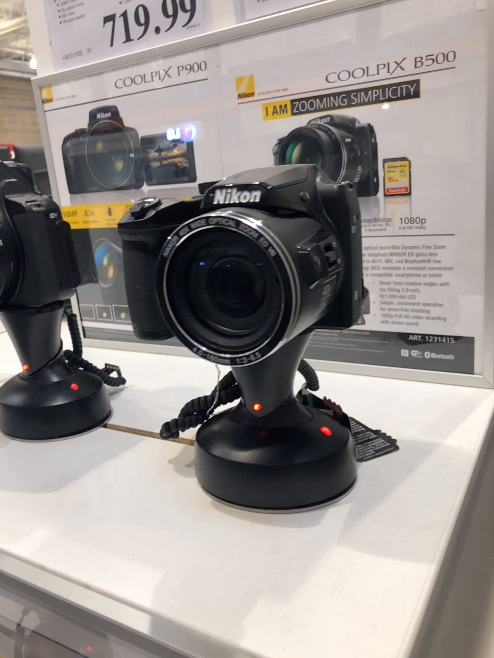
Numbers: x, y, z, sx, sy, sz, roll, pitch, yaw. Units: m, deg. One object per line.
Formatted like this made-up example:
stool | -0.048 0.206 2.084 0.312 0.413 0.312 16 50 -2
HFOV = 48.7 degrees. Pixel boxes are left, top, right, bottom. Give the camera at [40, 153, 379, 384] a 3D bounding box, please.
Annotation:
camera | -0.011 -0.033 0.254 0.120 0.080 0.090 2 17 27
